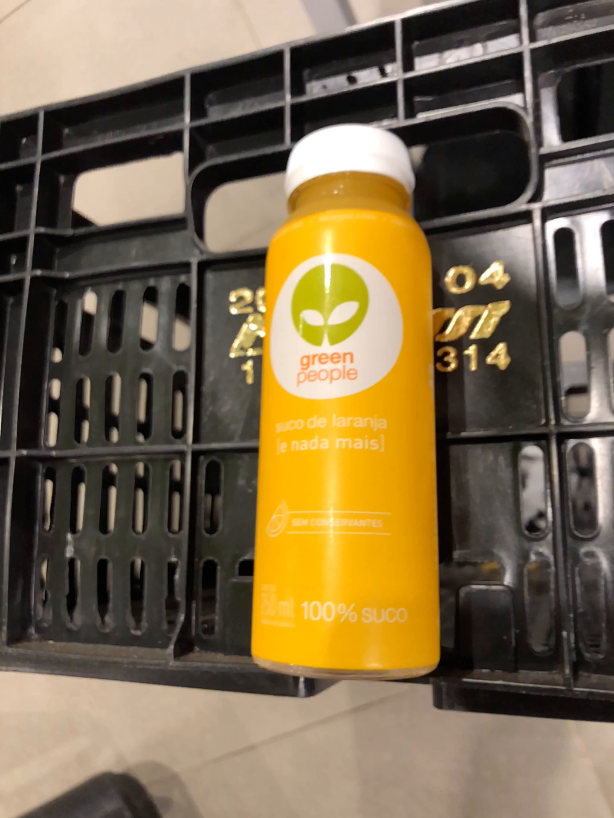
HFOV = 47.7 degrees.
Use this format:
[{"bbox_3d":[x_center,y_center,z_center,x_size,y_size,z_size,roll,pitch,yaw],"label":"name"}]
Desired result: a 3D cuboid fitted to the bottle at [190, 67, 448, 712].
[{"bbox_3d":[0.007,-0.008,0.220,0.060,0.050,0.180,-4,75,21],"label":"bottle"}]
